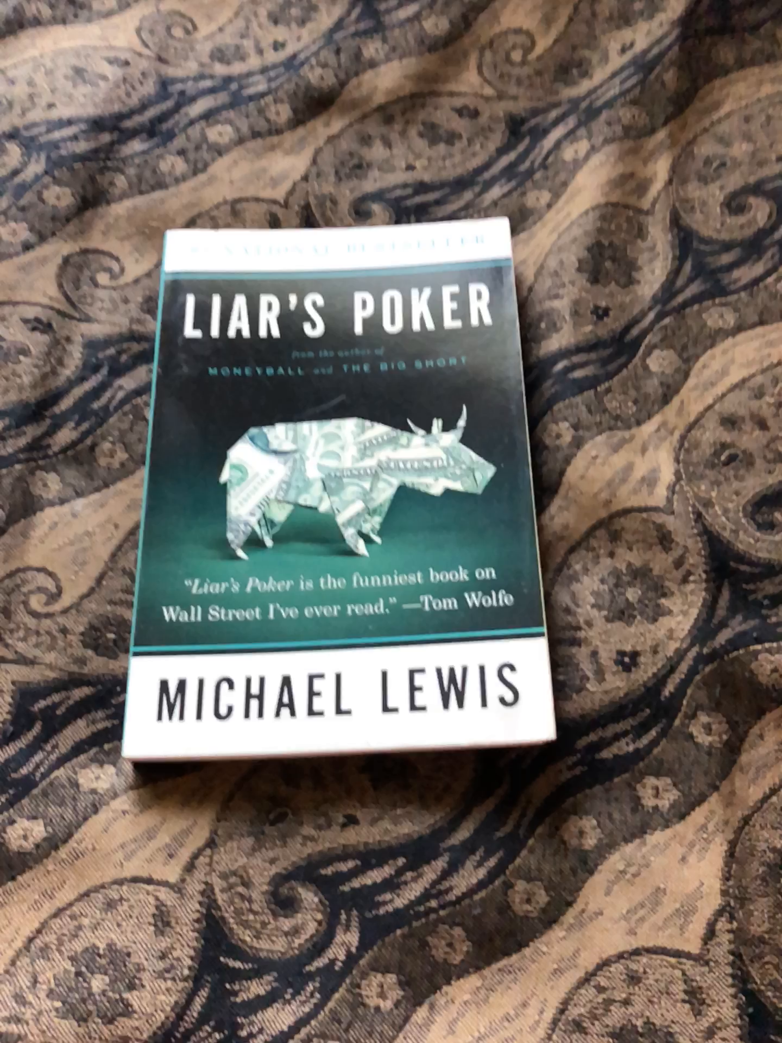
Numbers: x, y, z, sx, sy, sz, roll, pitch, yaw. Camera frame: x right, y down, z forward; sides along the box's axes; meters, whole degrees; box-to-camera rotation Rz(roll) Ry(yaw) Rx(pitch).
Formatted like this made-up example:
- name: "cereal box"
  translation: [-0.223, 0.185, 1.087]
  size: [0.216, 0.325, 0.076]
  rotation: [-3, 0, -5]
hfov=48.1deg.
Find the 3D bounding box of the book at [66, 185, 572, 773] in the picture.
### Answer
- name: "book"
  translation: [-0.020, -0.021, 0.314]
  size: [0.150, 0.040, 0.210]
  rotation: [0, 69, 2]
